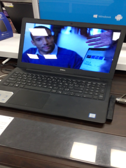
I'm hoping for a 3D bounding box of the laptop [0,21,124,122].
[{"bbox_3d":[-0.033,-0.076,0.592,0.416,0.192,0.346,10,38,12],"label":"laptop"}]
